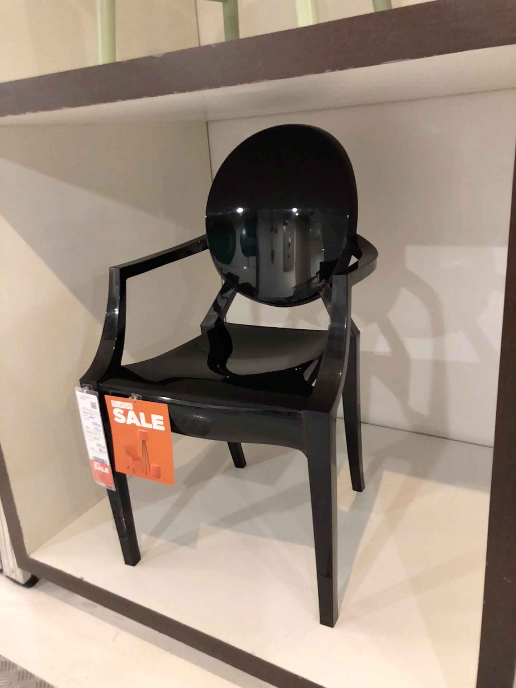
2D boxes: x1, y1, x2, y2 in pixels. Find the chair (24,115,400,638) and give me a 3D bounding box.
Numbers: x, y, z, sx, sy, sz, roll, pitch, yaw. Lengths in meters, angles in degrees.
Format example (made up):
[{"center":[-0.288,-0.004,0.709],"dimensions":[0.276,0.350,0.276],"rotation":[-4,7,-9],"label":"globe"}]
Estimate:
[{"center":[-0.018,0.009,1.172],"dimensions":[0.510,0.855,0.493],"rotation":[5,21,26],"label":"chair"}]
